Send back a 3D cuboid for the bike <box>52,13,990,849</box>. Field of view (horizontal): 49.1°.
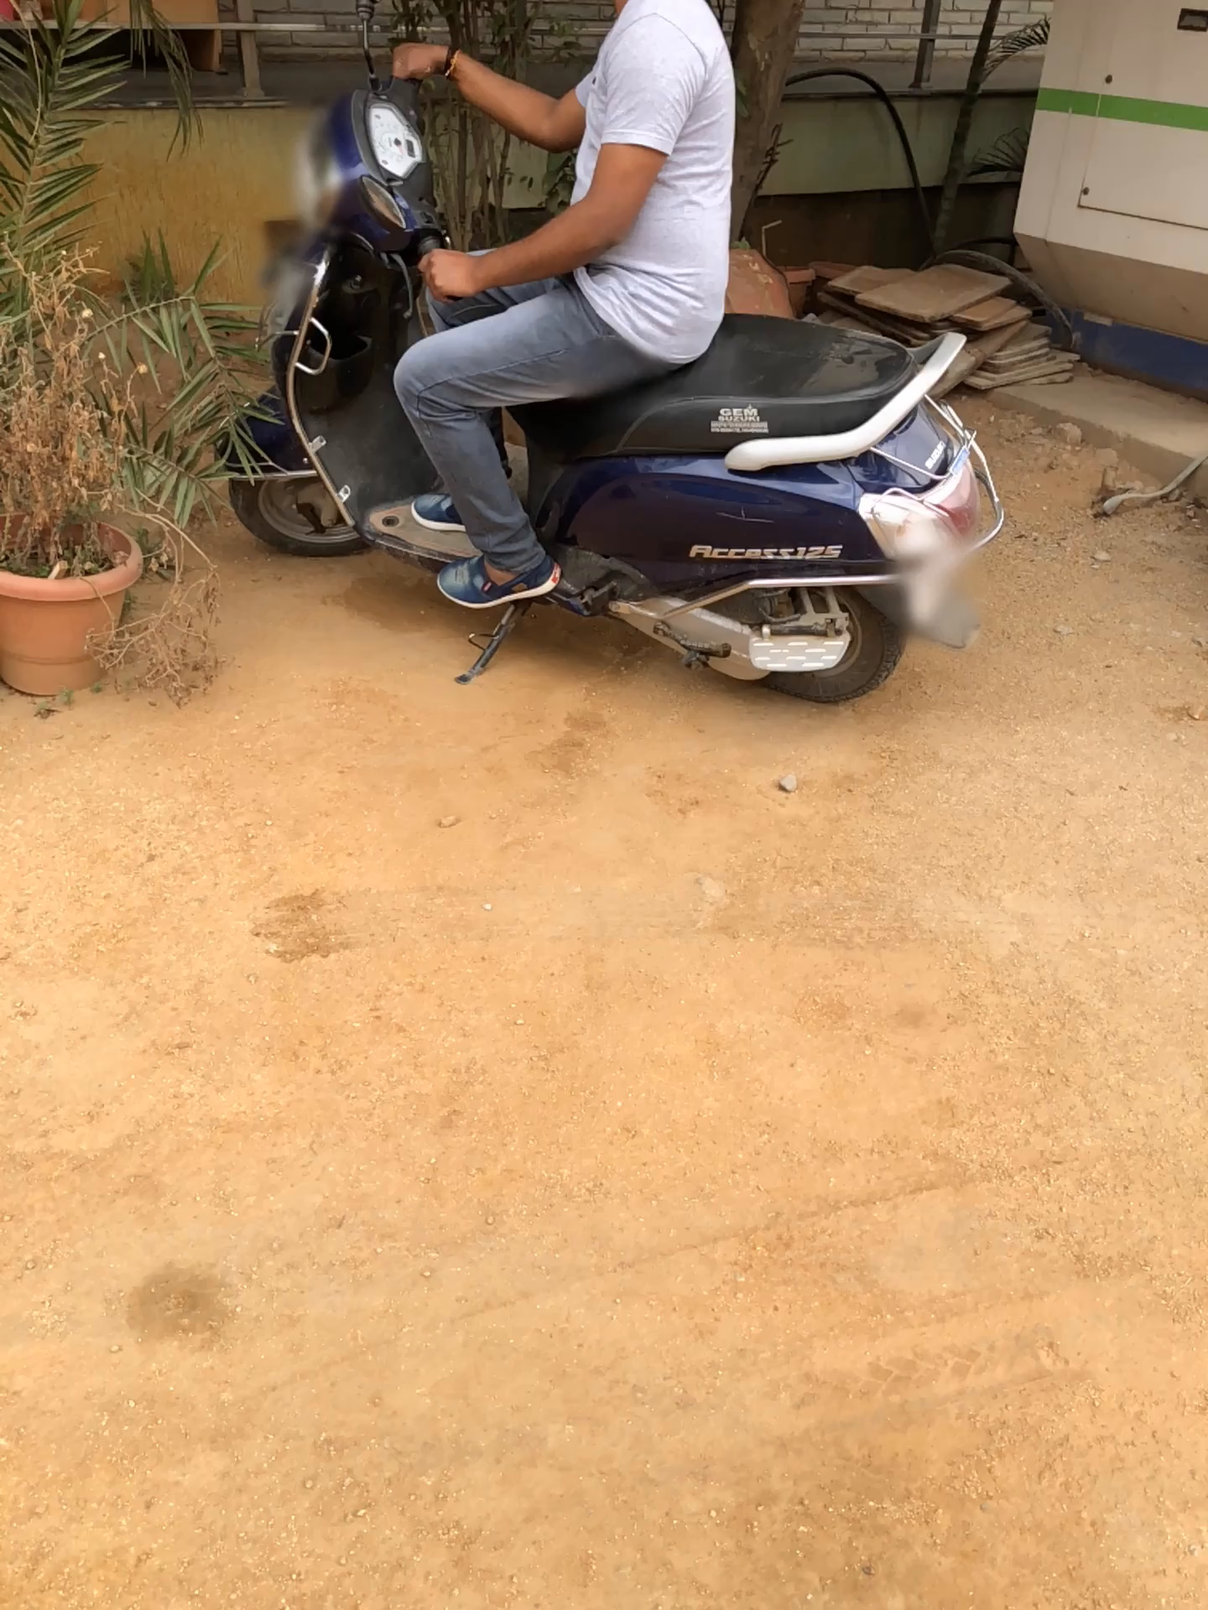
[{"bbox_3d":[-0.165,-0.805,2.653,1.620,1.221,0.591,15,34,18],"label":"bike"}]
